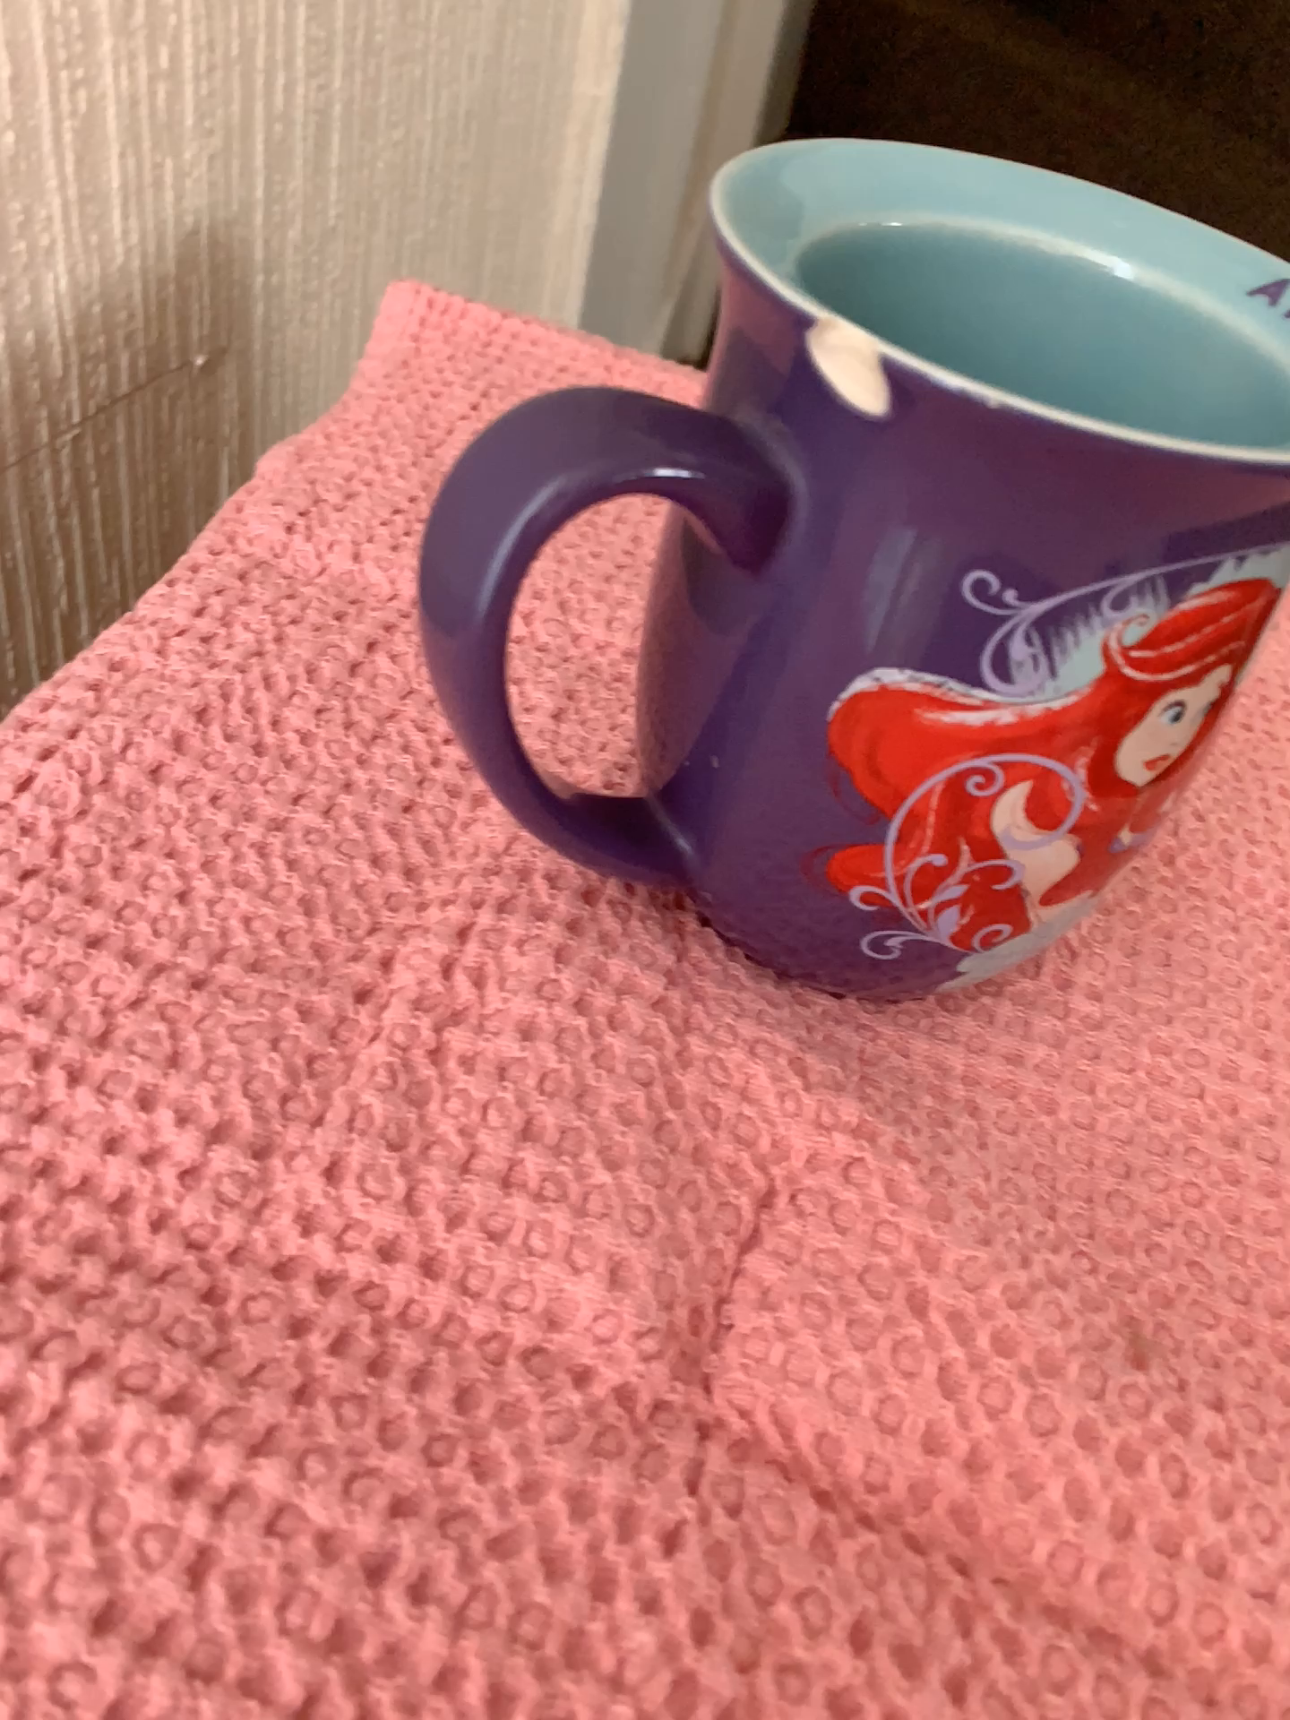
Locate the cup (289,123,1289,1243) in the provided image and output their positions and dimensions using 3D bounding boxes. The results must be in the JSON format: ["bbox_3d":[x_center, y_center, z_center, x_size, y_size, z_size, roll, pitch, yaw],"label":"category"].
[{"bbox_3d":[0.033,-0.036,0.200,0.141,0.099,0.101,-15,50,-29],"label":"cup"}]
